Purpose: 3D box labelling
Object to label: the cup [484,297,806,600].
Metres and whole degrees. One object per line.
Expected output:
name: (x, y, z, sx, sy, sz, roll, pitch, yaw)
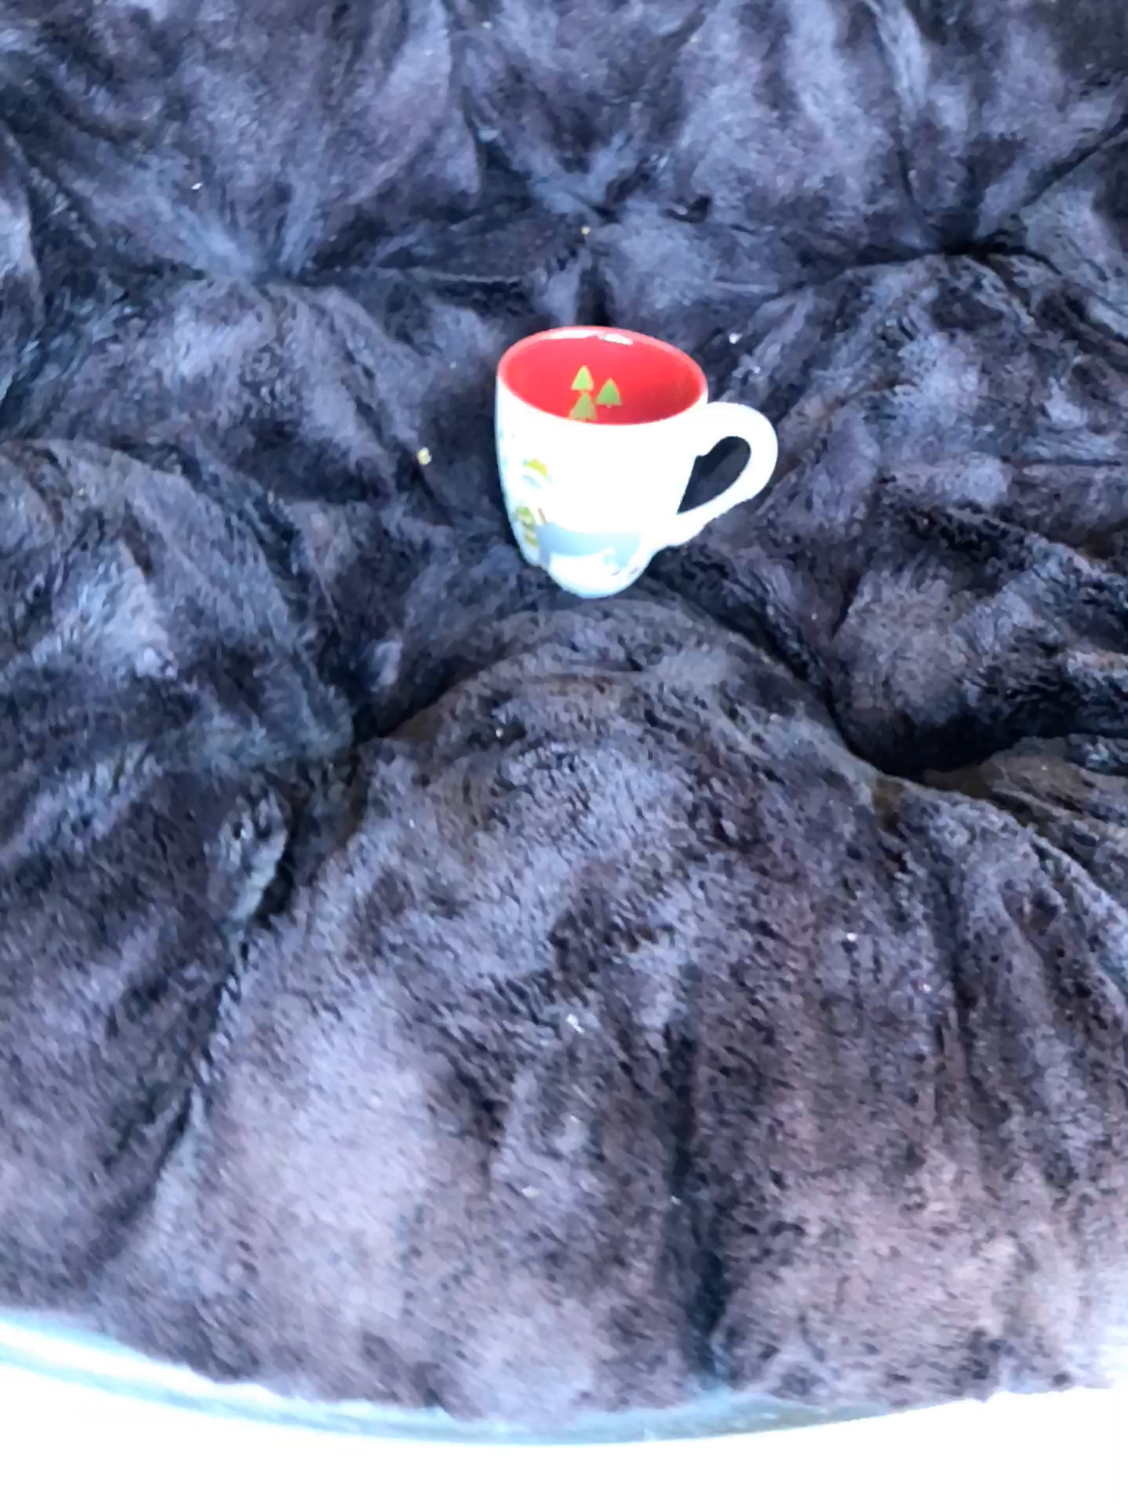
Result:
cup: (0.032, -0.153, 0.641, 0.140, 0.110, 0.100, -2, 48, -6)
